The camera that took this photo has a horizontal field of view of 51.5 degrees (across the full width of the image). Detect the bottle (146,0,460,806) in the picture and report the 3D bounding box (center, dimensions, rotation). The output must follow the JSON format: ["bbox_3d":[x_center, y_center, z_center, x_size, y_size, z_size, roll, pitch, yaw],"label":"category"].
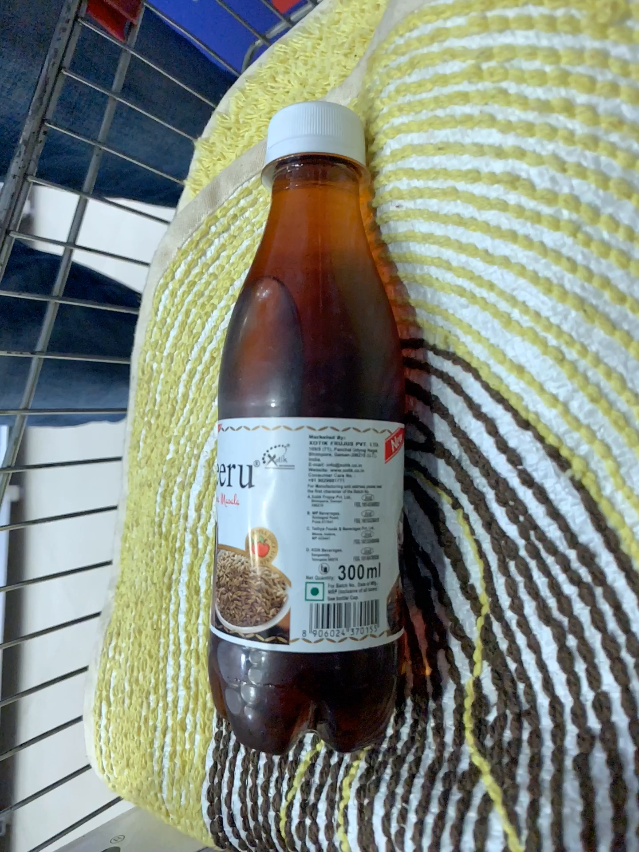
[{"bbox_3d":[-0.005,-0.007,0.187,0.060,0.060,0.180,-2,86,52],"label":"bottle"}]
